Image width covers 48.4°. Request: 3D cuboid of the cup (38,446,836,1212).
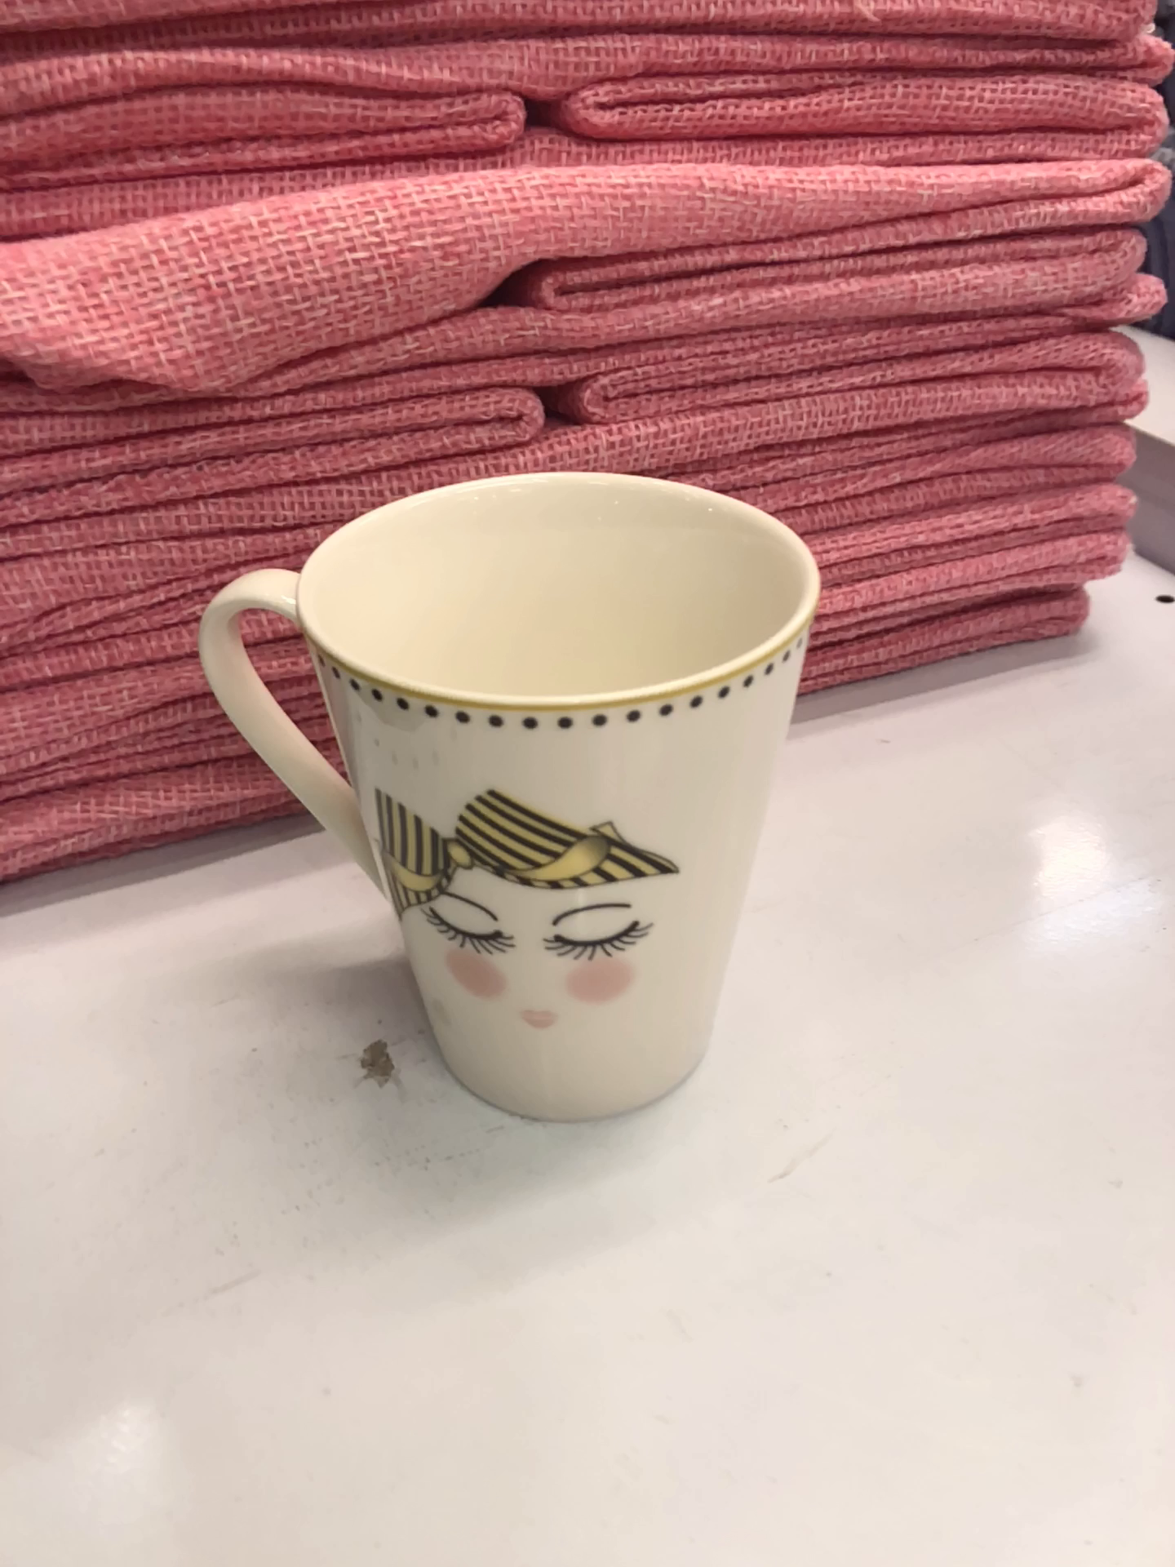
[{"bbox_3d":[-0.015,0.003,0.244,0.110,0.099,0.091,5,35,12],"label":"cup"}]
